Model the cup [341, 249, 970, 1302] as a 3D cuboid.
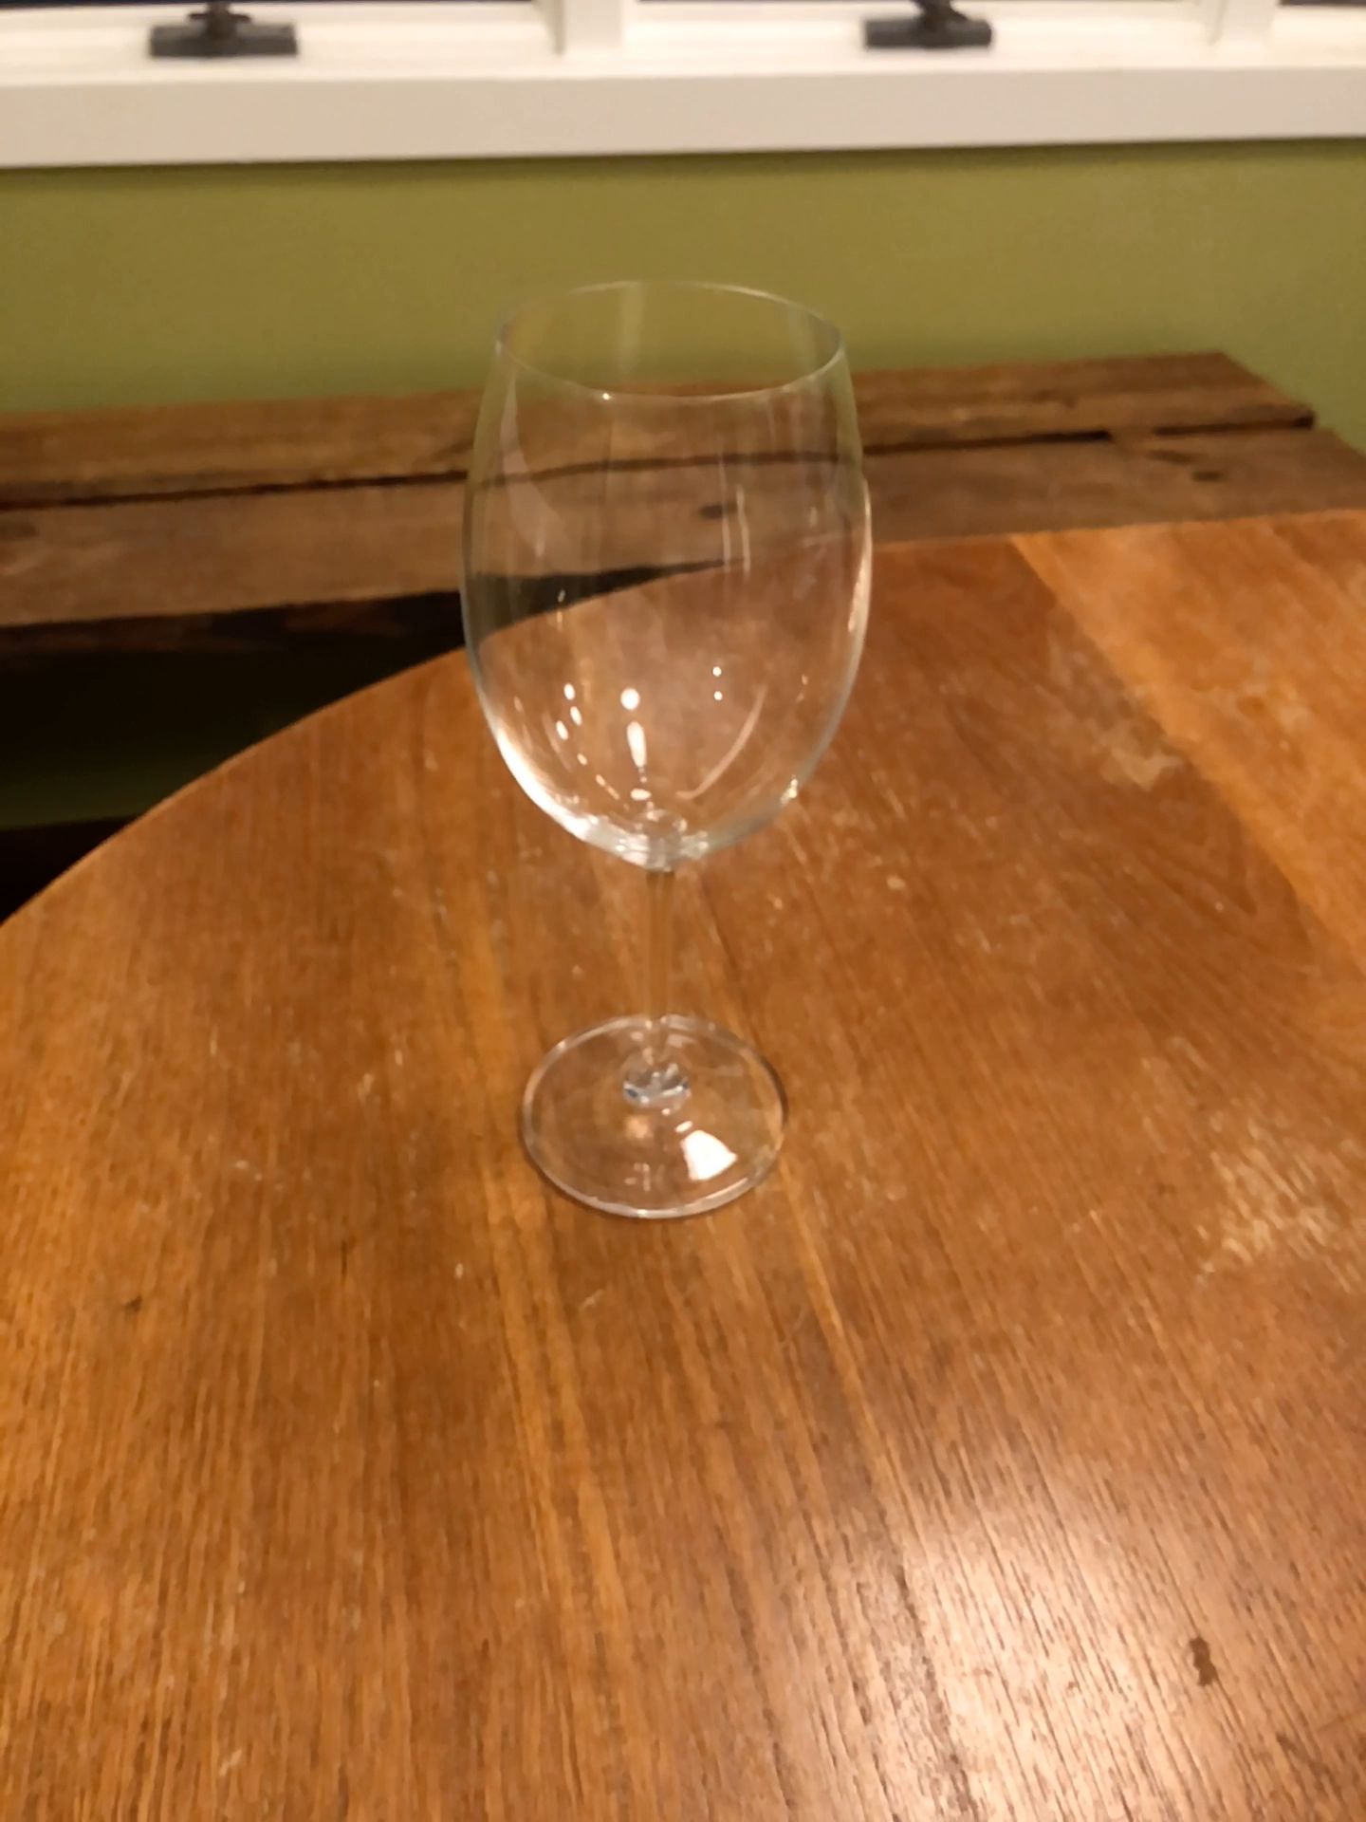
[{"bbox_3d":[-0.005,-0.027,0.398,0.100,0.240,0.098,1,39,-1],"label":"cup"}]
